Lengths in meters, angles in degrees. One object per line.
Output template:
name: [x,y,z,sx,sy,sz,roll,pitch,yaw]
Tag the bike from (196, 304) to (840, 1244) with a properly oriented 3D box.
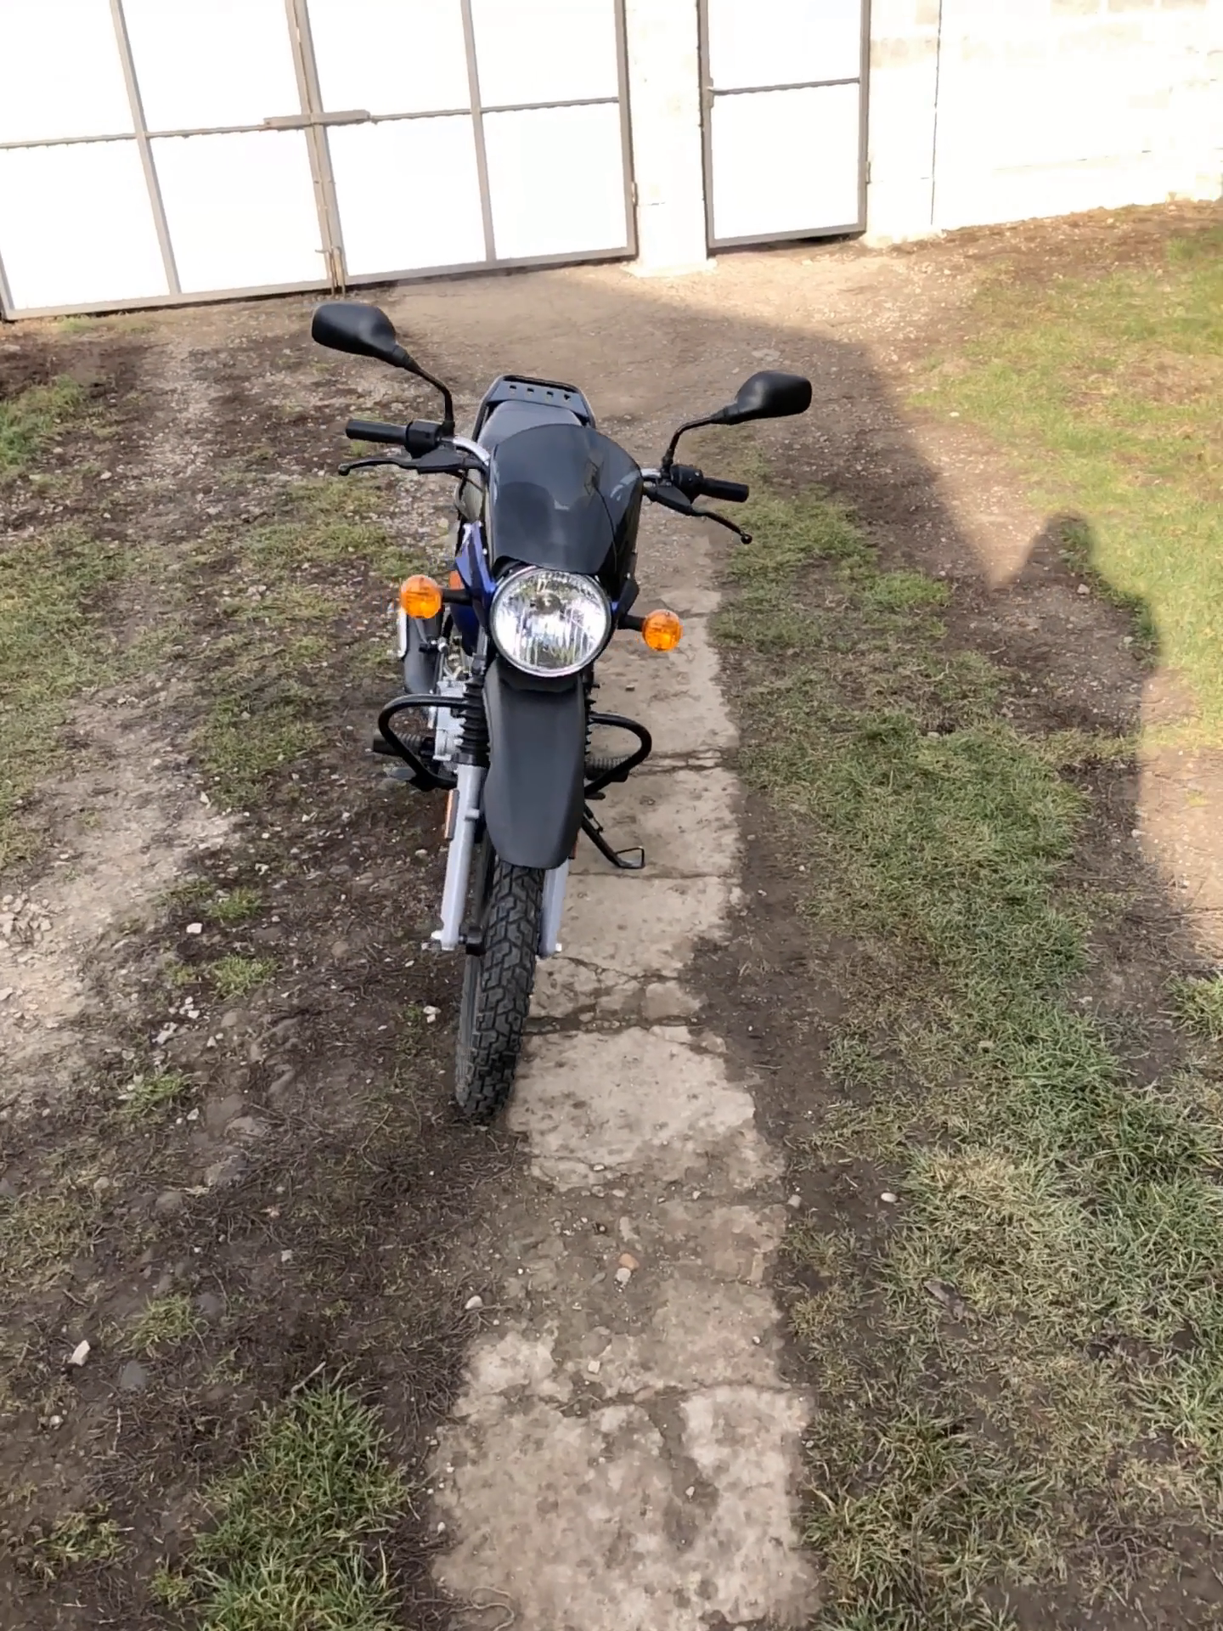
bike: [-0.122,-0.267,2.690,0.806,1.050,1.791,-4,31,-1]
